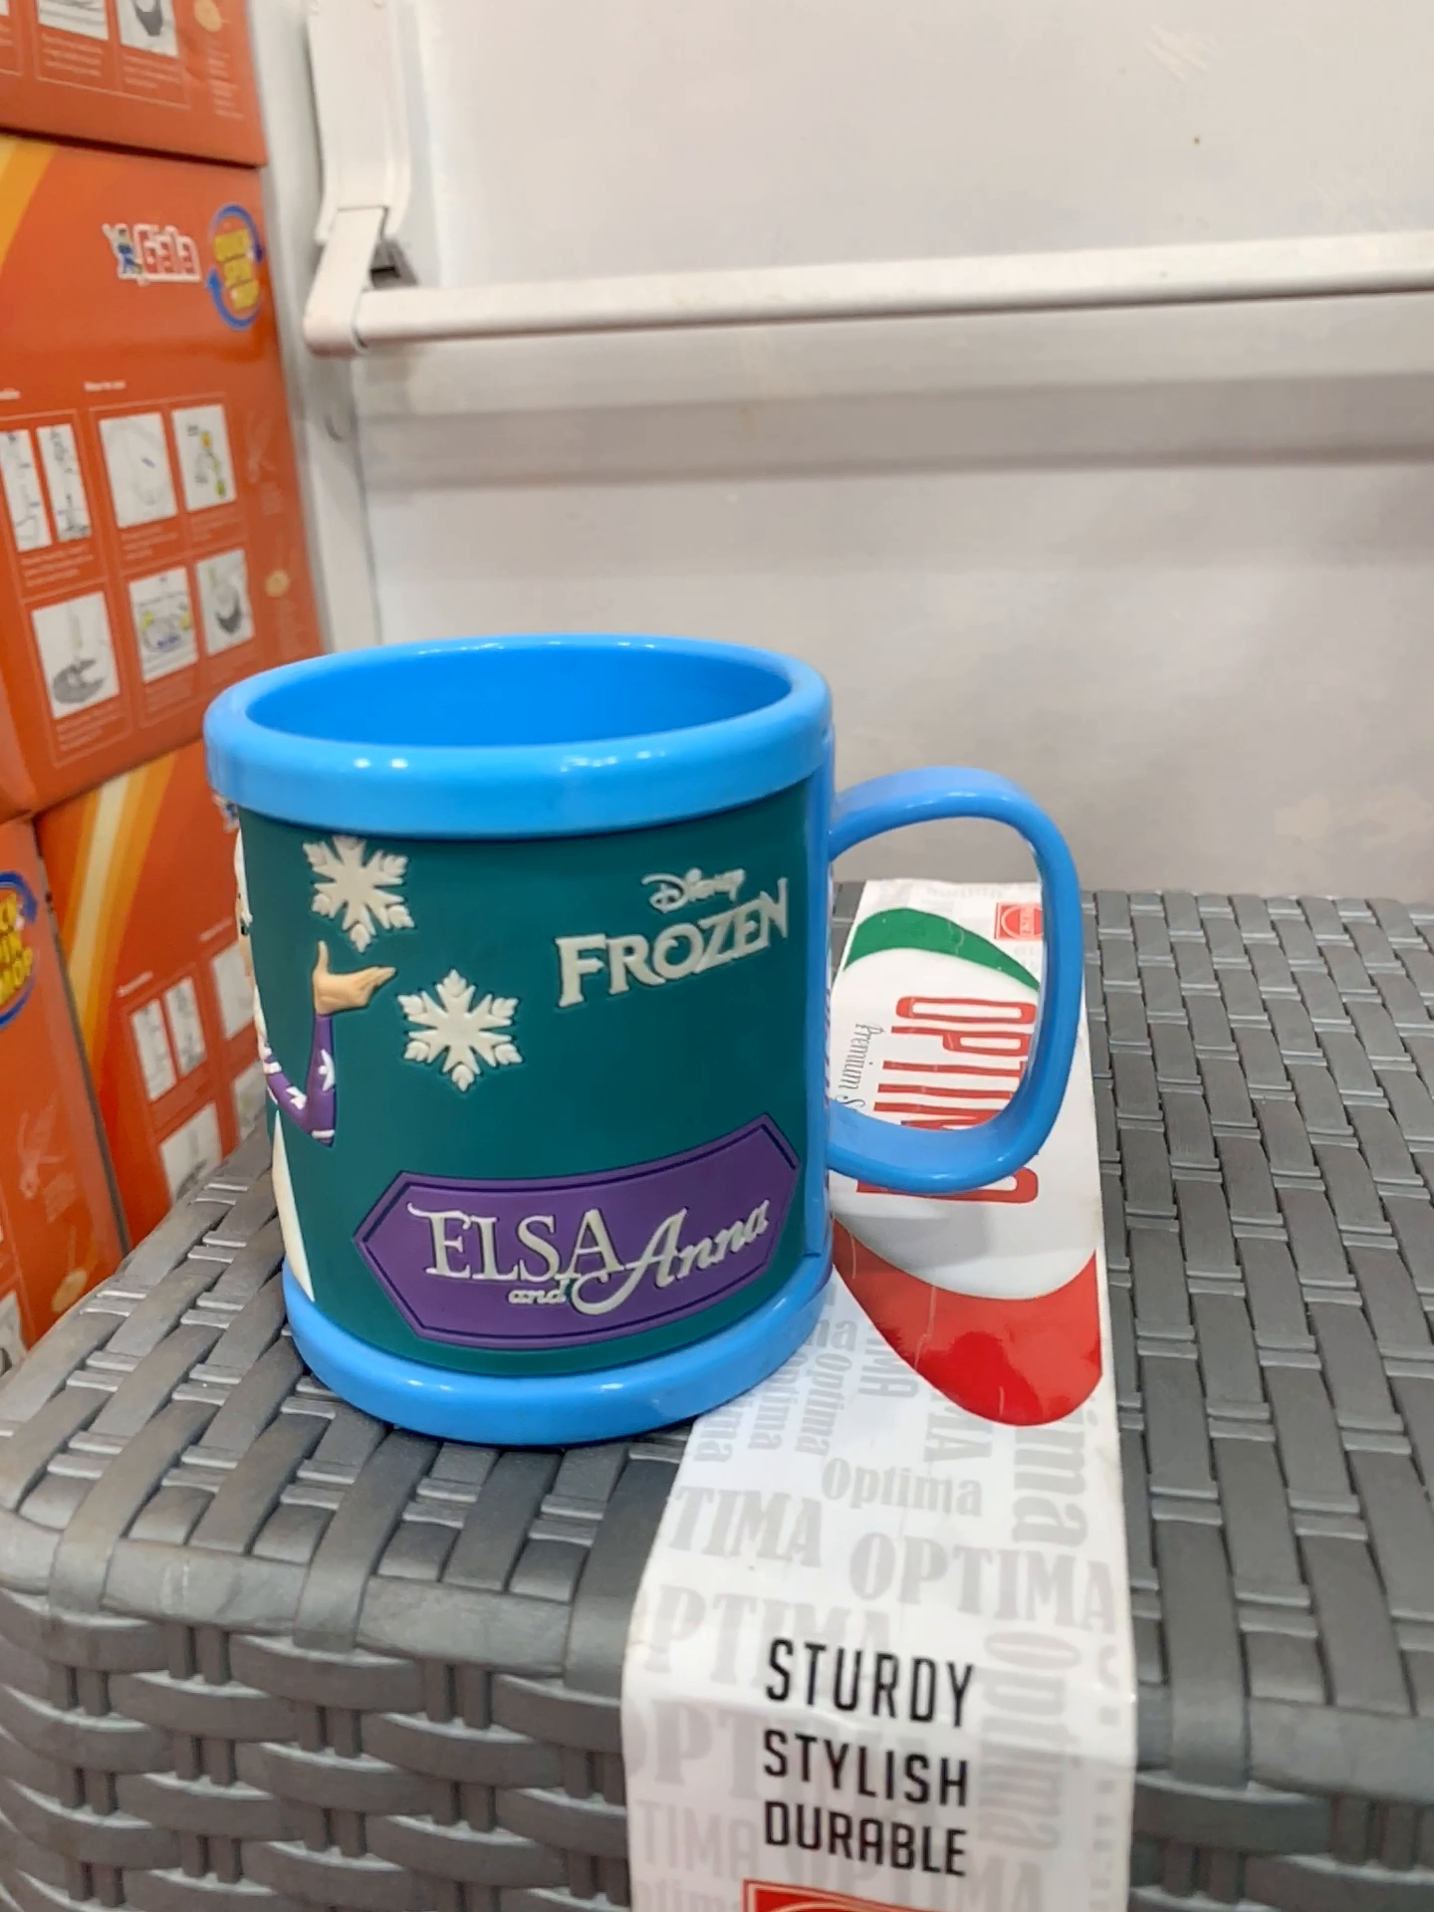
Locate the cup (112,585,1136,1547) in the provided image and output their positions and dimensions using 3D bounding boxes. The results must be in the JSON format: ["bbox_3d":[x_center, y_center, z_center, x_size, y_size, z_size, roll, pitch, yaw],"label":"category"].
[{"bbox_3d":[-0.011,0.007,0.207,0.106,0.099,0.078,-5,21,-7],"label":"cup"}]
